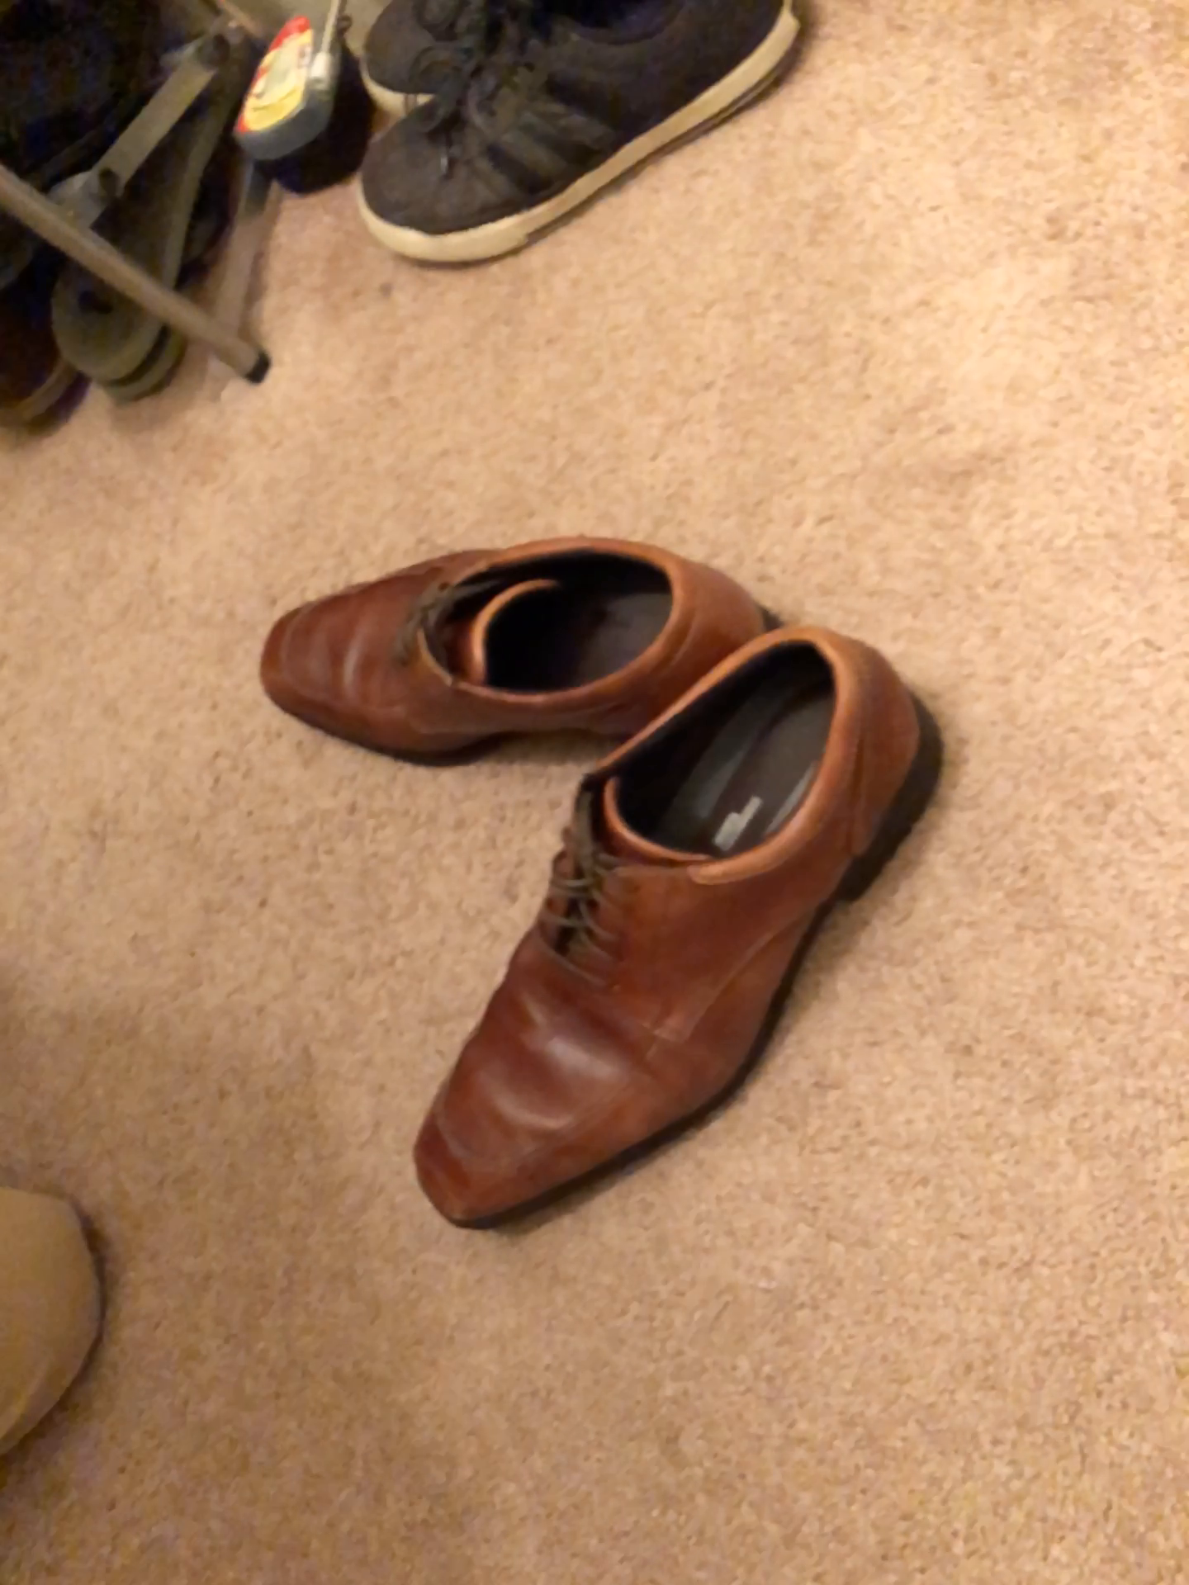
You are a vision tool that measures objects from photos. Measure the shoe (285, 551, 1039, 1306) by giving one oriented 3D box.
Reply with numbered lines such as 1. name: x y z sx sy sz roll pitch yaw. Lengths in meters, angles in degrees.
1. shoe: 0.027 0.064 0.542 0.300 0.110 0.100 -48 57 8

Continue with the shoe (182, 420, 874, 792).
1. shoe: -0.036 -0.083 0.640 0.301 0.120 0.120 4 76 31
